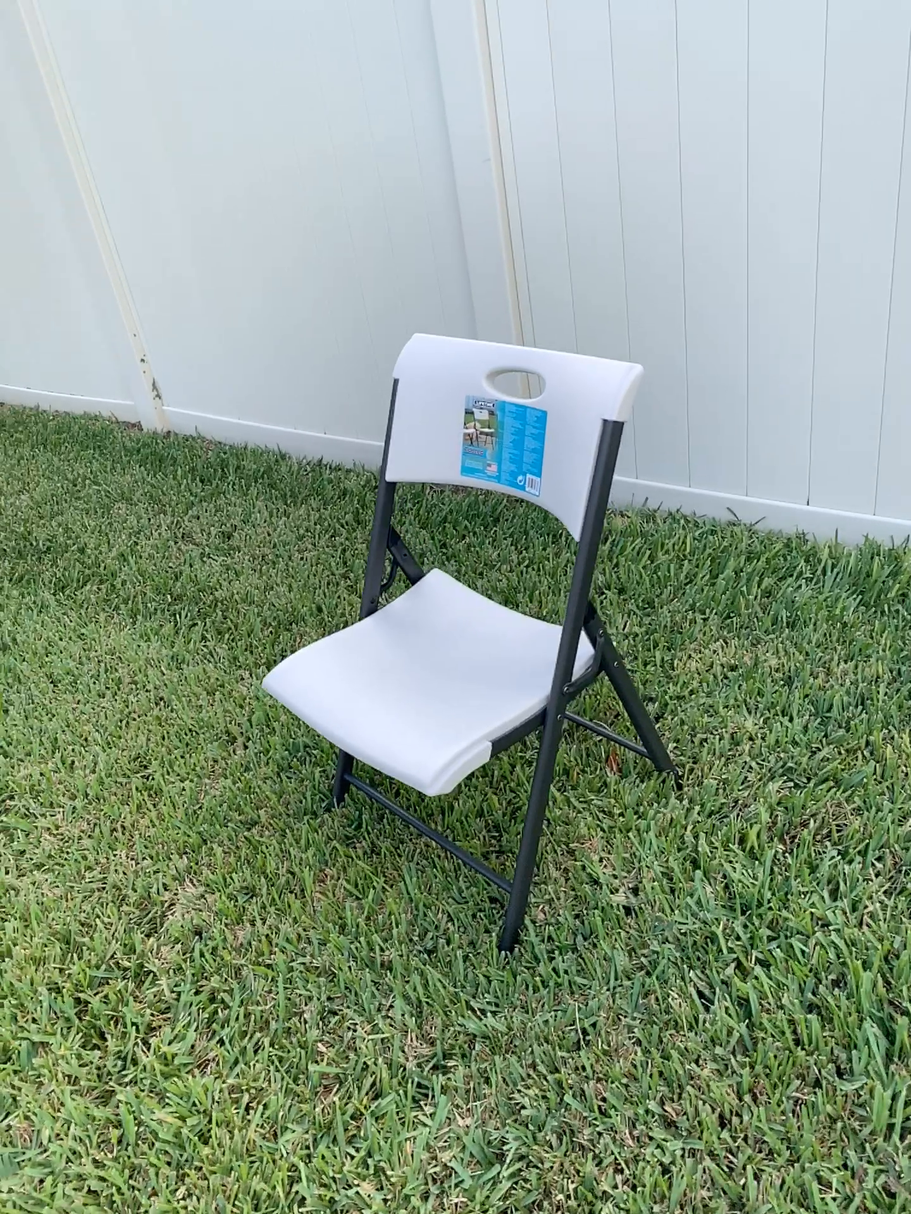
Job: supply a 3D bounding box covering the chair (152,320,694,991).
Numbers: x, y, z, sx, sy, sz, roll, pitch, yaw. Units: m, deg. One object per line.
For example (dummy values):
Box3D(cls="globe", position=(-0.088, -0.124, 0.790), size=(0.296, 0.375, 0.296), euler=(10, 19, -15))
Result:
Box3D(cls="chair", position=(-0.008, 0.027, 1.451), size=(0.517, 0.766, 0.521), euler=(-31, 35, -33))
